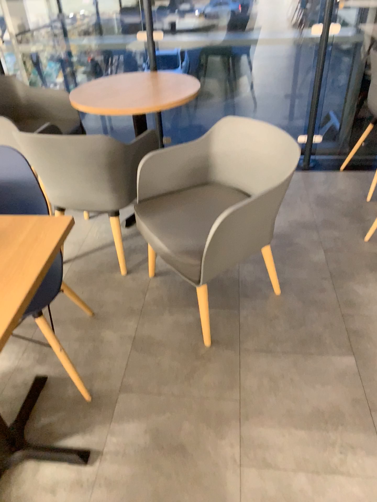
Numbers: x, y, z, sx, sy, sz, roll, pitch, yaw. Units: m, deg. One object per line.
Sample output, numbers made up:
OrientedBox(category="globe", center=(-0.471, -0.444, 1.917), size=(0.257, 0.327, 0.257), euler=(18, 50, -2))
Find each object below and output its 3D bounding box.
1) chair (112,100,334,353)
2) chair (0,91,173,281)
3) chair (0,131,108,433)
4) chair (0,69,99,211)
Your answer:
OrientedBox(category="chair", center=(0.120, -0.133, 1.589), size=(0.581, 0.735, 0.547), euler=(-23, 41, -25))
OrientedBox(category="chair", center=(-0.432, -0.337, 1.916), size=(0.514, 0.725, 0.544), euler=(8, 39, 15))
OrientedBox(category="chair", center=(-0.586, 0.101, 1.281), size=(0.473, 0.784, 0.514), euler=(-10, 37, -8))
OrientedBox(category="chair", center=(-1.004, -0.709, 2.443), size=(0.580, 0.725, 0.488), euler=(4, 37, 11))
